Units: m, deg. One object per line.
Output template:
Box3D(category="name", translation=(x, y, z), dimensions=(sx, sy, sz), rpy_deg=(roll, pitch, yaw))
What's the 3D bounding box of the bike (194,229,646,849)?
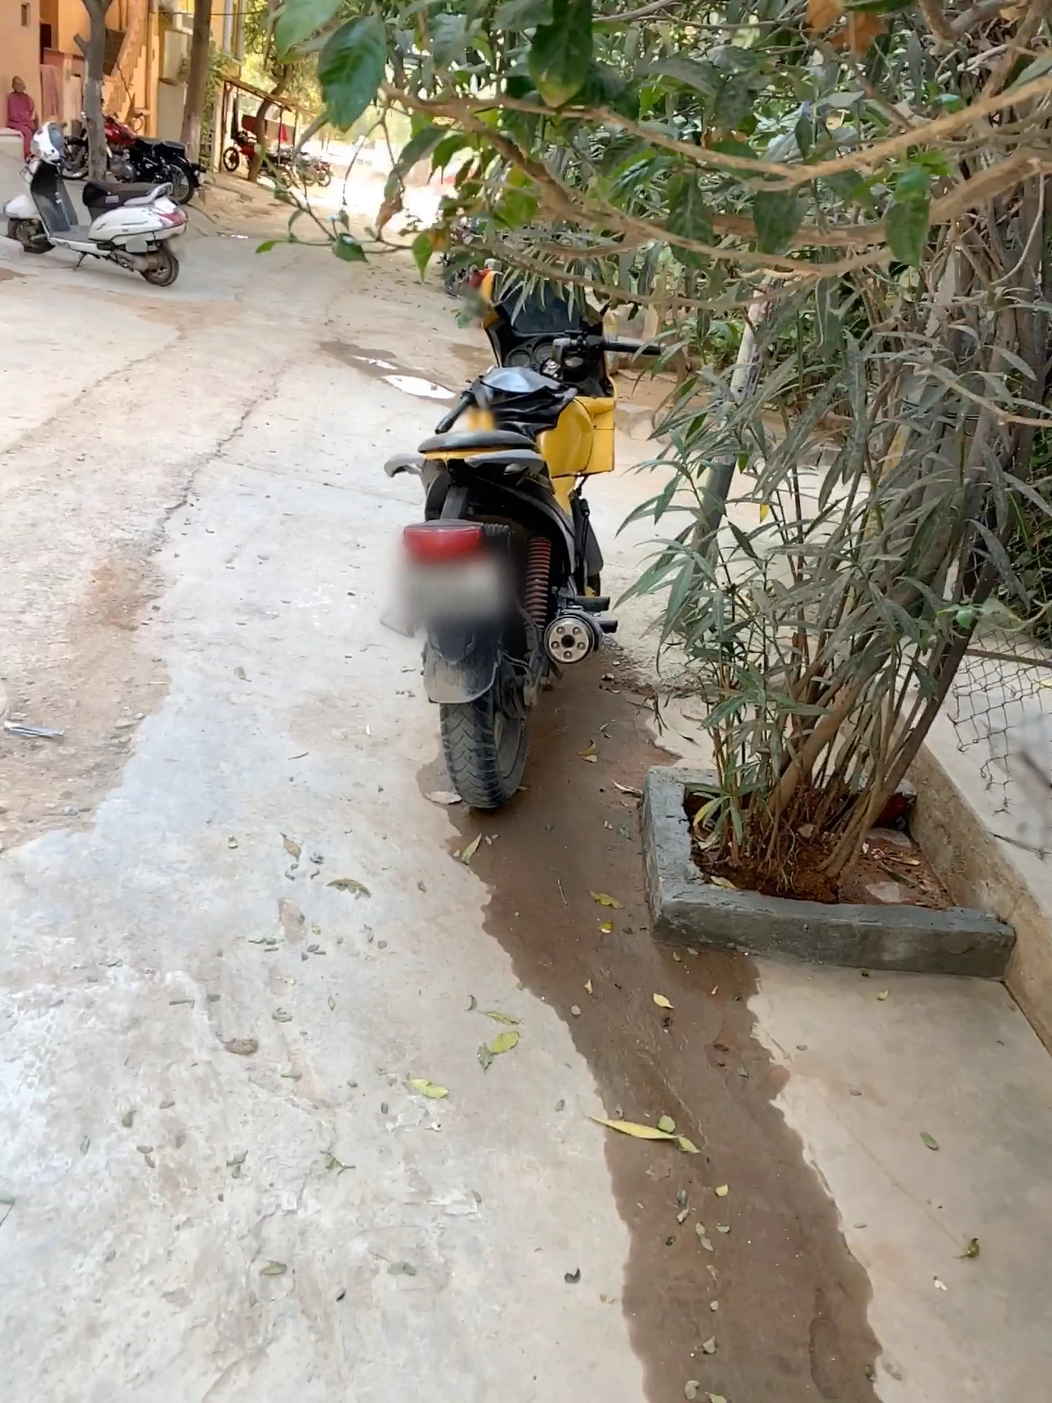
Box3D(category="bike", translation=(-0.252, -0.624, 3.033), dimensions=(0.852, 0.953, 1.756), rpy_deg=(10, 29, -3))
